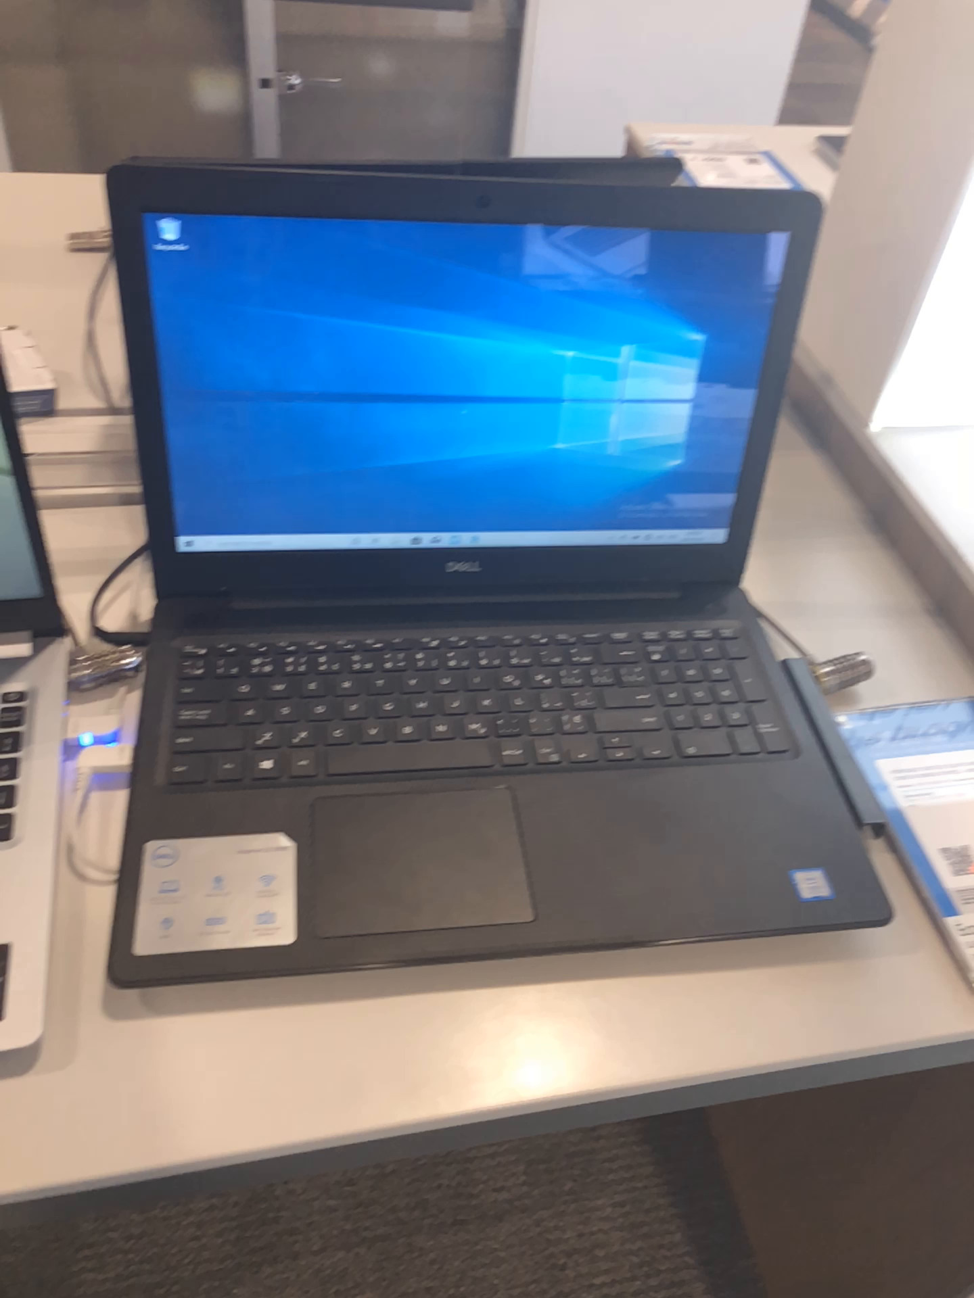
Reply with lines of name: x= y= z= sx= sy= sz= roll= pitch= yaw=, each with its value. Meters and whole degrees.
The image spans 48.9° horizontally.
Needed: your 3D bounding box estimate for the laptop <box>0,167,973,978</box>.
laptop: x=0.004 y=-0.052 z=0.531 sx=0.368 sy=0.230 sz=0.311 roll=-2 pitch=45 yaw=-10
